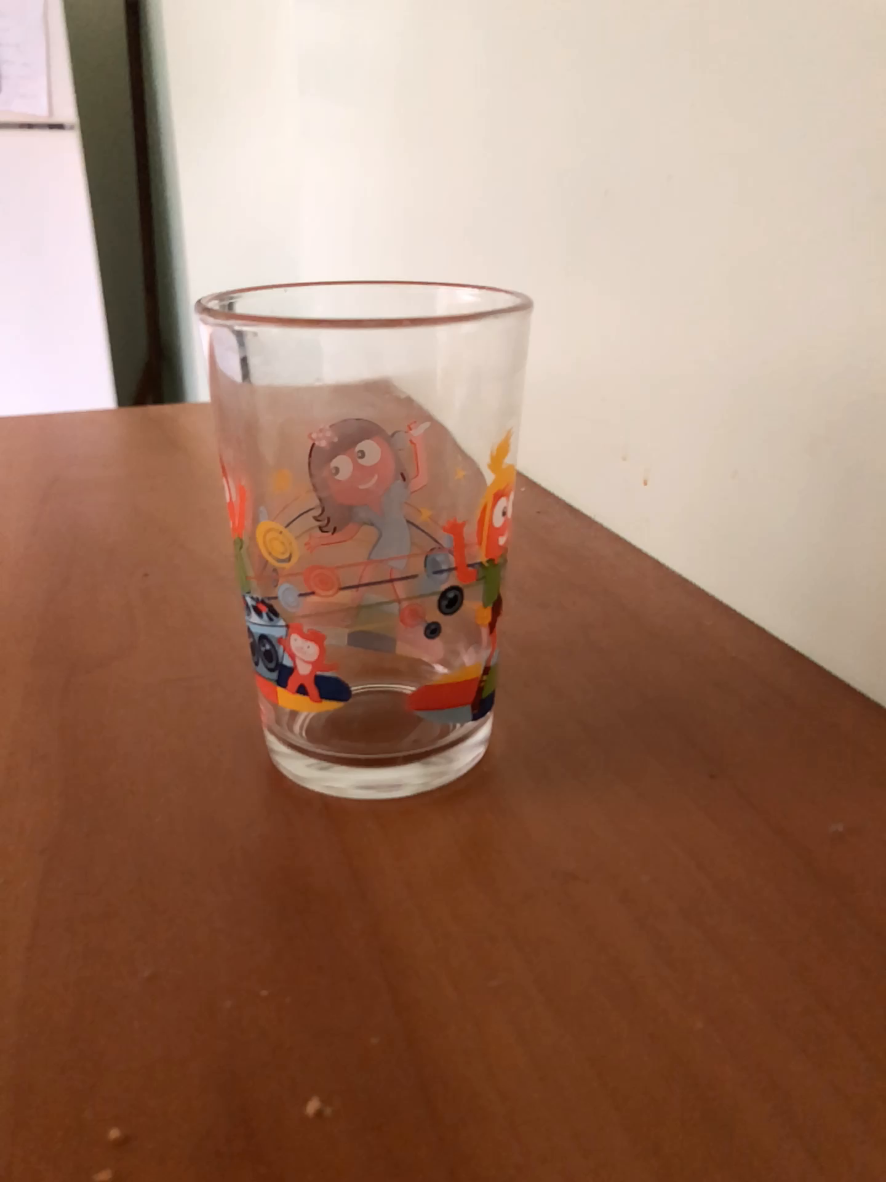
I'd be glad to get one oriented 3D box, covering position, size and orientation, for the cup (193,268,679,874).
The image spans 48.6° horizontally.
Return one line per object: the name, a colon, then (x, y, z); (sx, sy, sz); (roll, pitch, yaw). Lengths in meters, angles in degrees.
cup: (-0.005, -0.012, 0.206); (0.070, 0.099, 0.070); (0, 22, 0)
